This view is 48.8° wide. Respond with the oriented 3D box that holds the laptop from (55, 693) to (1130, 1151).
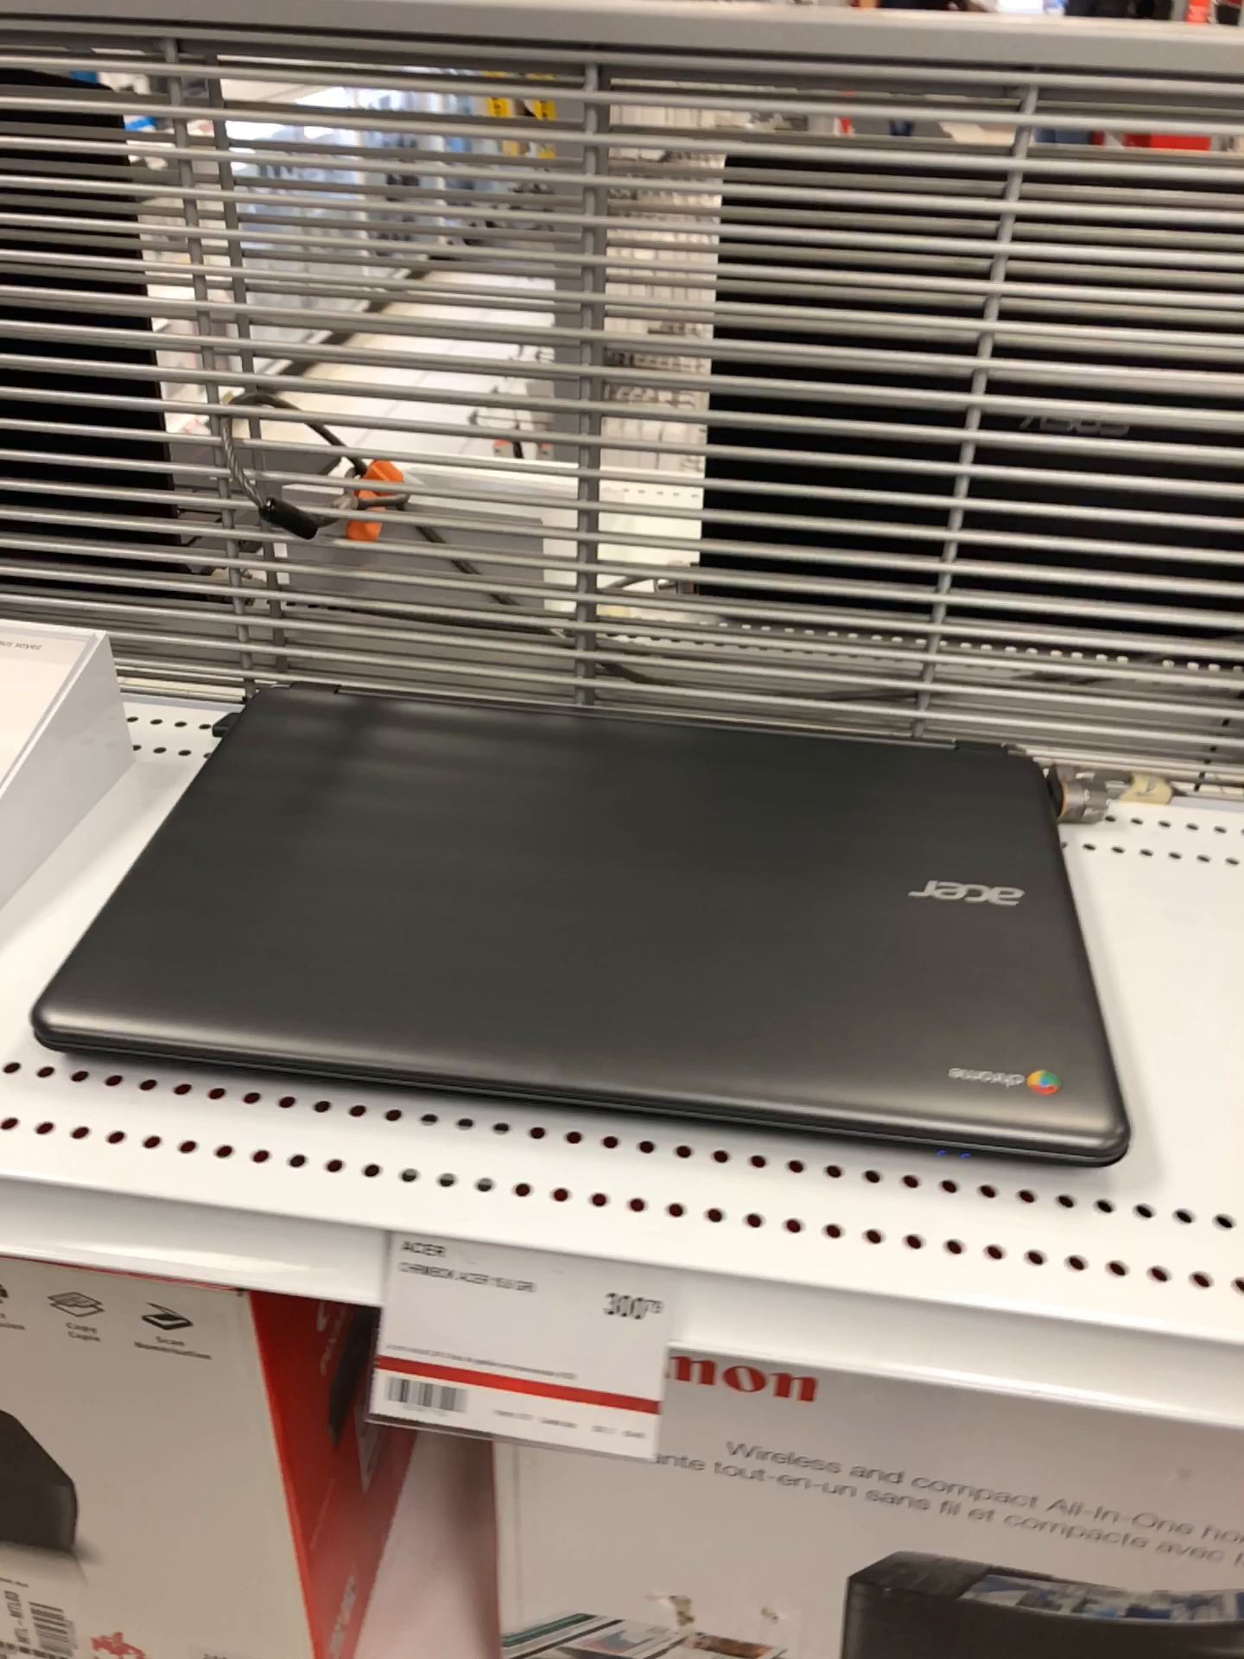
[{"bbox_3d":[-0.007,0.017,0.558,0.367,0.001,0.238,5,34,7],"label":"laptop"}]
